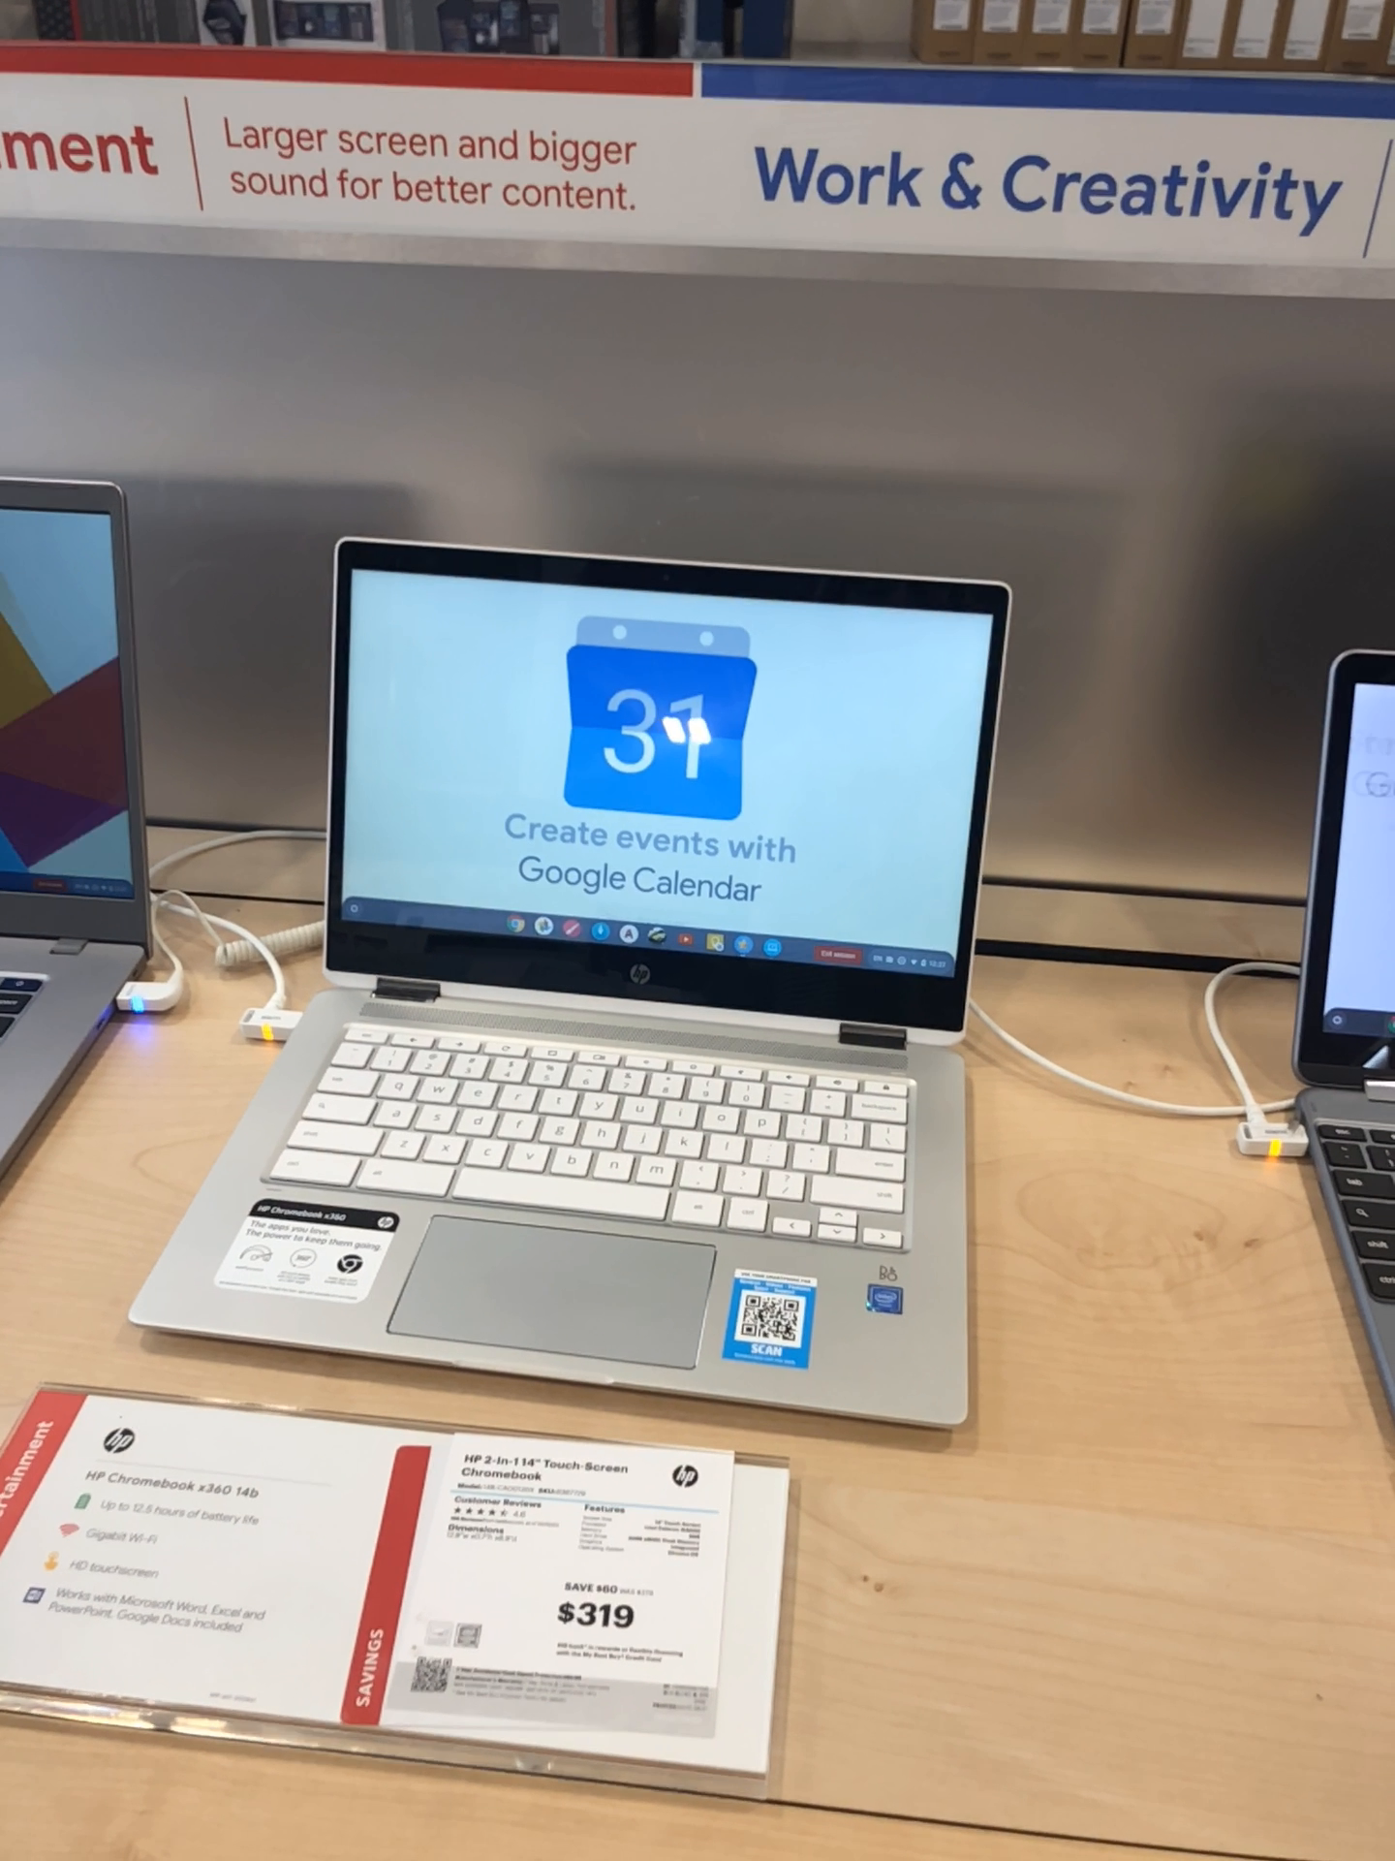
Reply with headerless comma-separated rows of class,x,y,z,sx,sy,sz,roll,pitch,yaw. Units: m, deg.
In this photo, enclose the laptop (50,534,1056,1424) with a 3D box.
laptop,-0.032,-0.004,0.674,0.323,0.205,0.320,5,35,5
